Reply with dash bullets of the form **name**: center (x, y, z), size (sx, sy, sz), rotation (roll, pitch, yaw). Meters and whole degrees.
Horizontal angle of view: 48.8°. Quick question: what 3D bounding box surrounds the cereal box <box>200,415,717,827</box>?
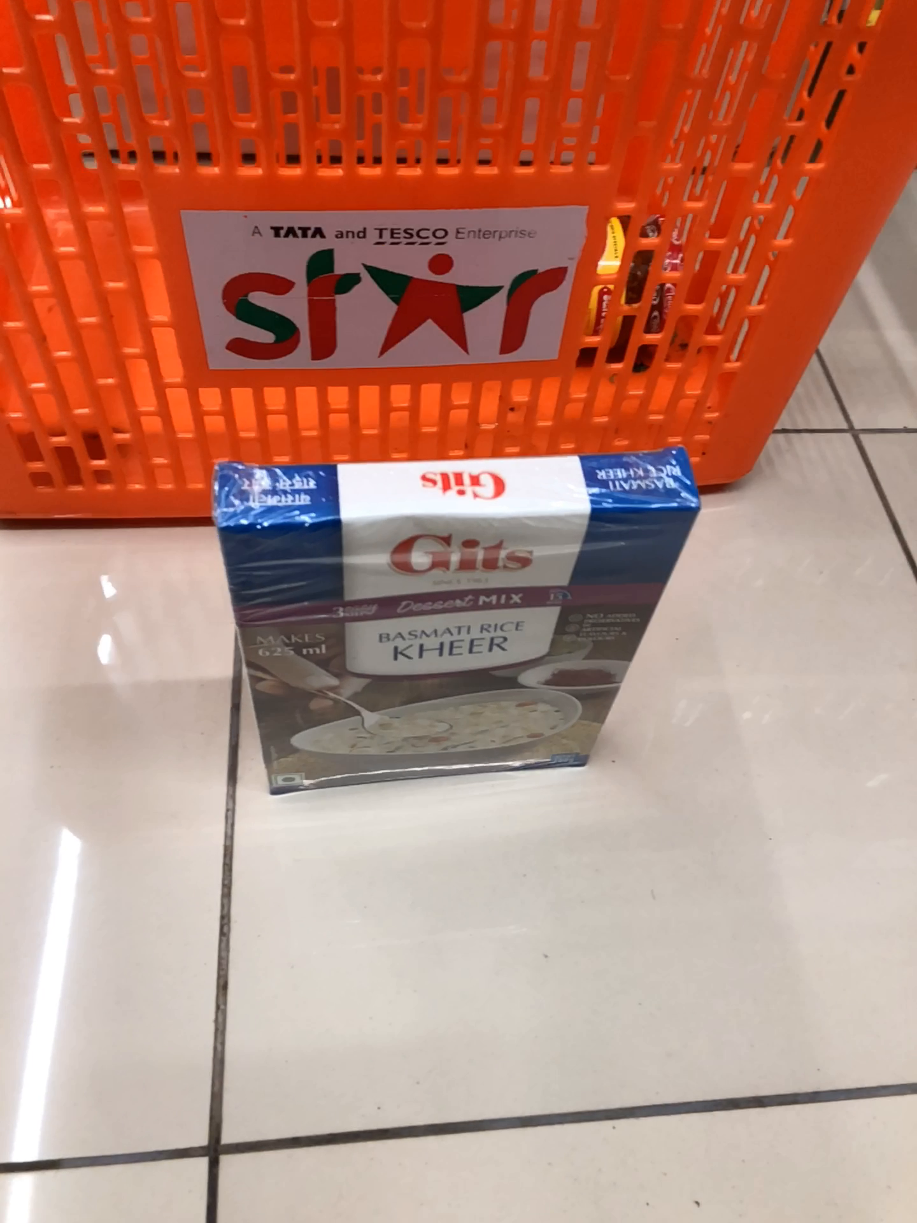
- **cereal box**: center (-0.005, 0.013, 0.305), size (0.120, 0.159, 0.030), rotation (-4, 54, -7)
